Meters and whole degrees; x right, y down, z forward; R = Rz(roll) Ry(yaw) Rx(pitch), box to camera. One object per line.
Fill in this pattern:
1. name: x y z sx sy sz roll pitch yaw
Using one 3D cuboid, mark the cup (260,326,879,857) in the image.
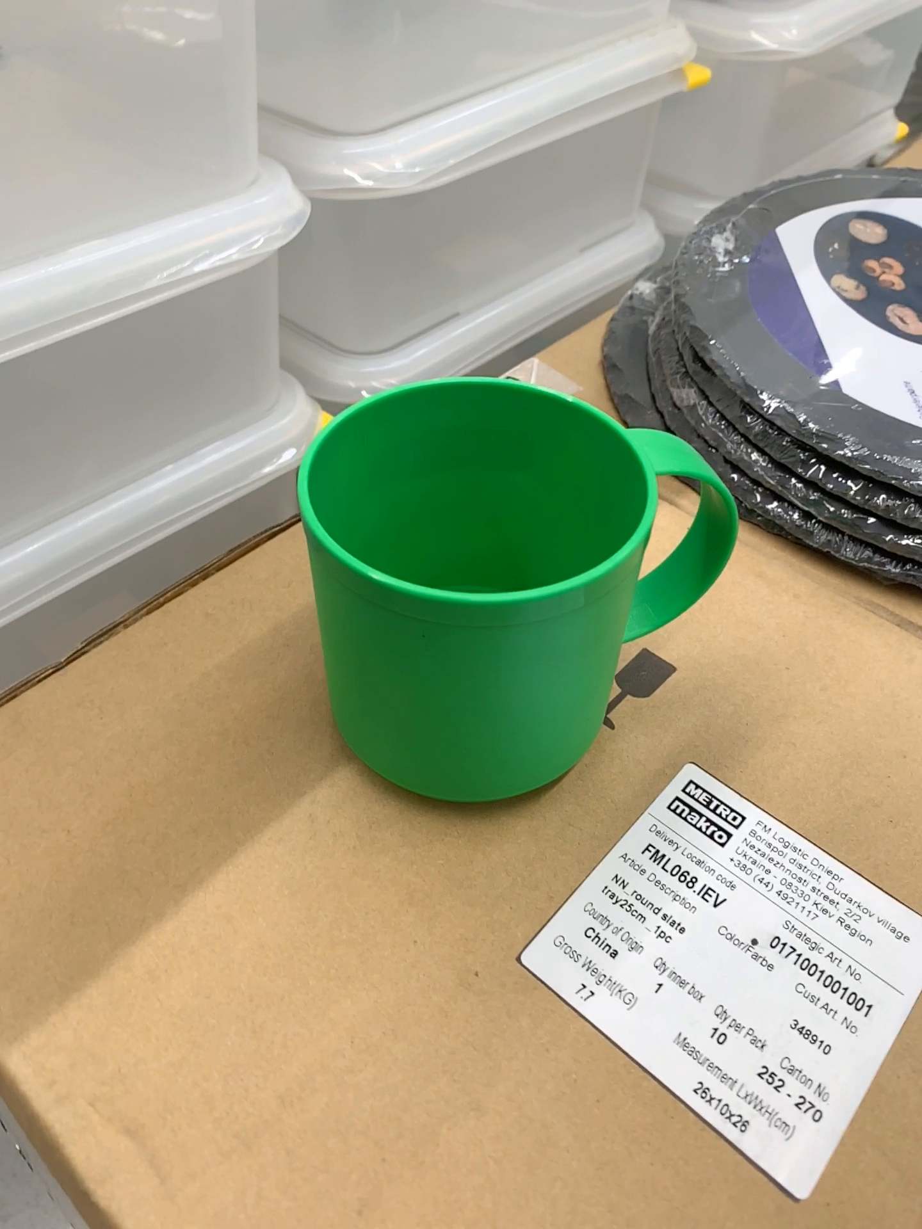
1. cup: 0.017 -0.009 0.220 0.105 0.069 0.076 -13 47 -13
